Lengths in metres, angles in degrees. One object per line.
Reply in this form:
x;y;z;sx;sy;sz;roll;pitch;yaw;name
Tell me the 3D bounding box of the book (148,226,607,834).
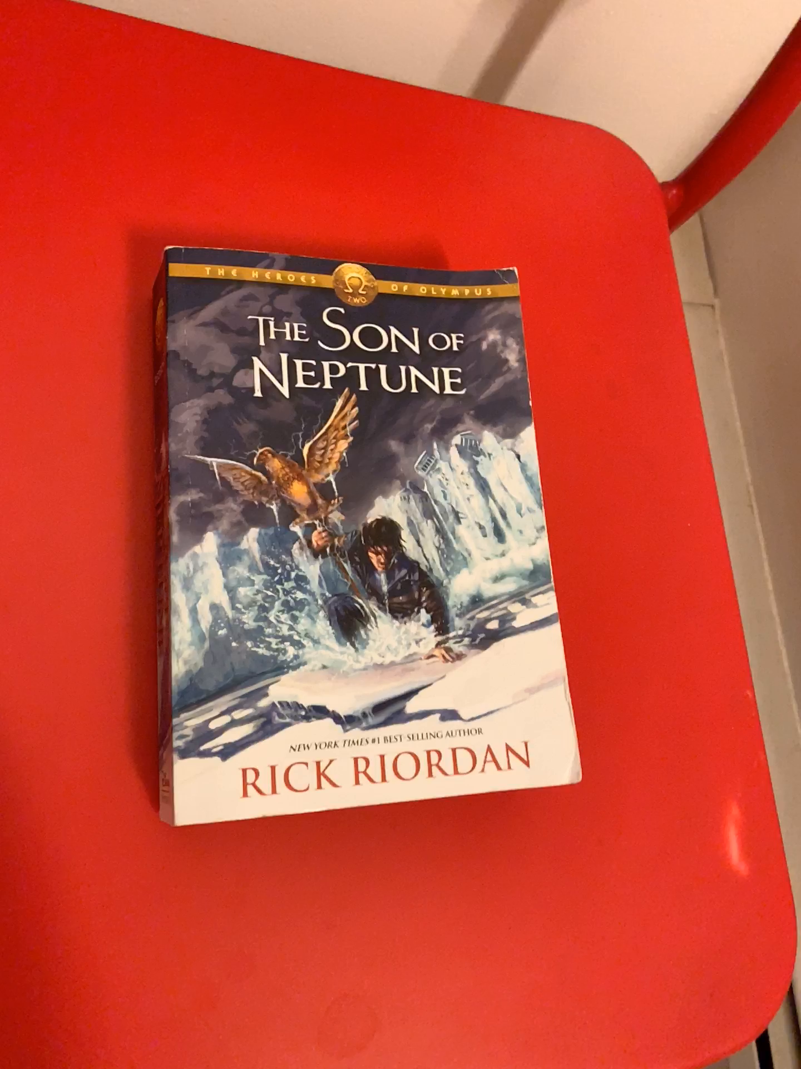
-0.013;-0.005;0.289;0.142;0.040;0.188;0;75;-19;book
